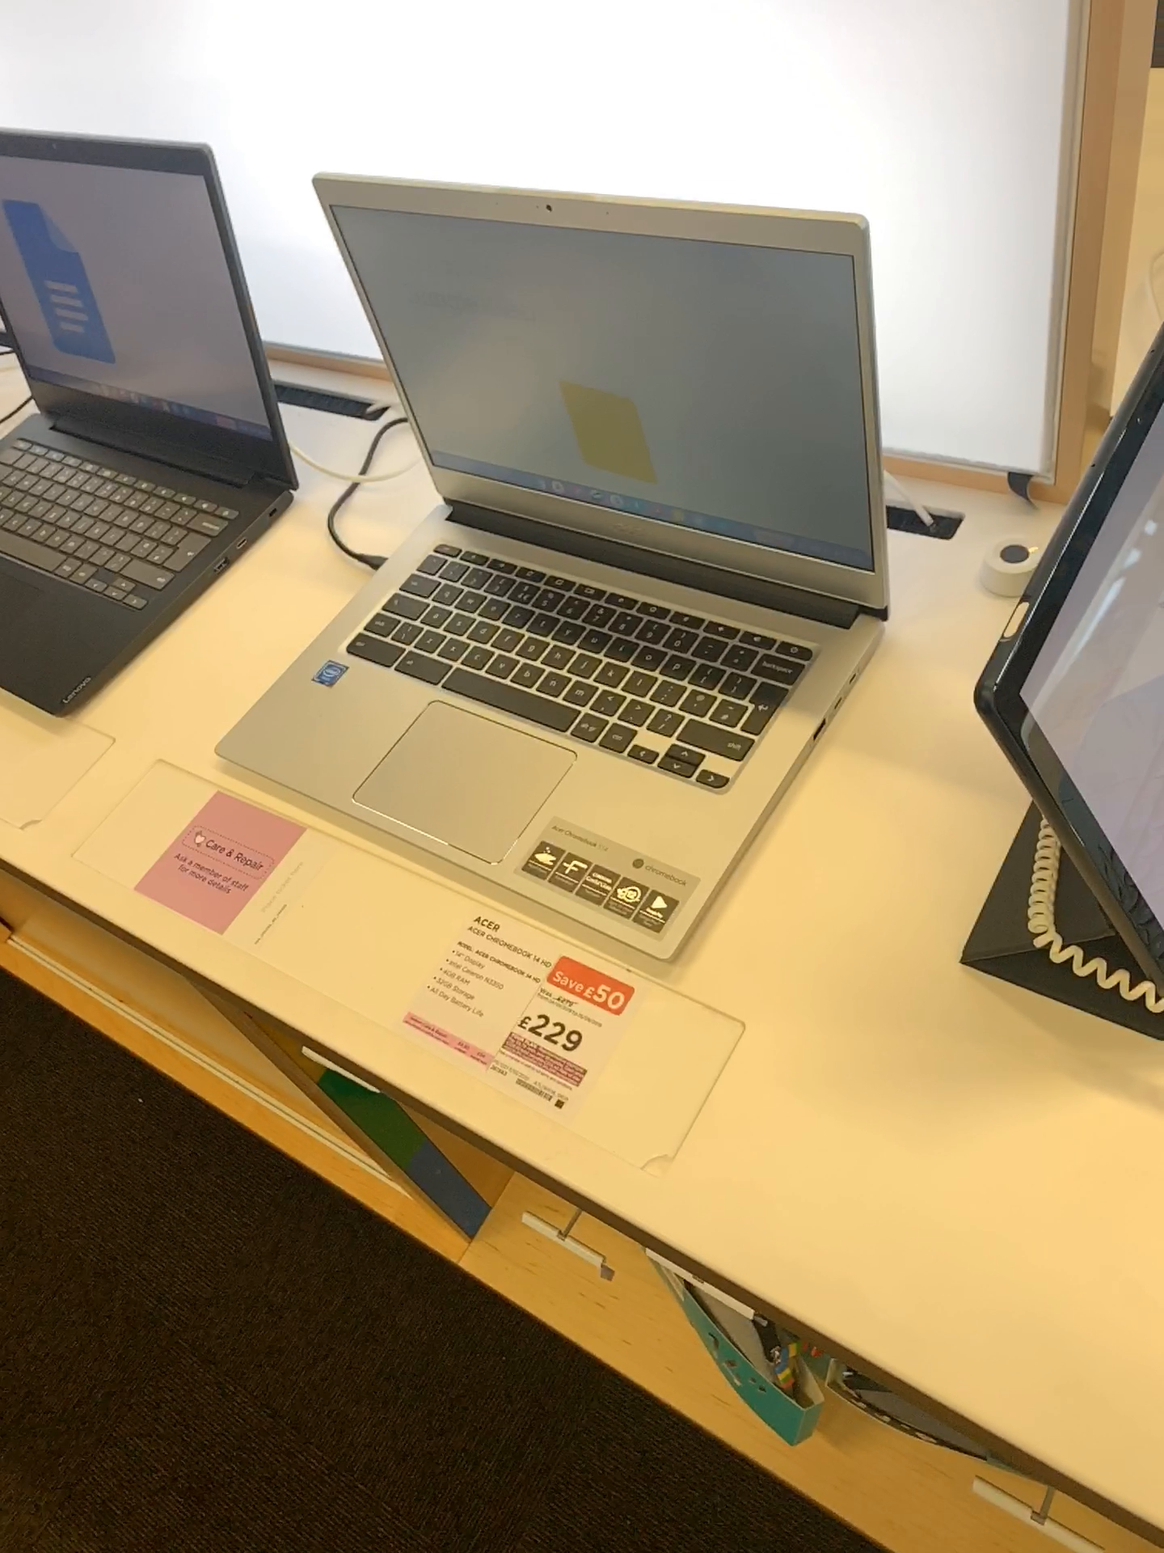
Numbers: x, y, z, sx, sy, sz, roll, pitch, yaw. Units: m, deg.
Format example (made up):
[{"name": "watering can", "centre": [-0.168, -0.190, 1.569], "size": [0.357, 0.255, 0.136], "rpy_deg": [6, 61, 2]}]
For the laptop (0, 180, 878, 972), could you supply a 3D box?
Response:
[{"name": "laptop", "centre": [-0.055, -0.112, 0.571], "size": [0.304, 0.207, 0.237], "rpy_deg": [20, 61, 30]}]

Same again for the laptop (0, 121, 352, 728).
[{"name": "laptop", "centre": [-0.393, -0.247, 0.794], "size": [0.309, 0.204, 0.283], "rpy_deg": [23, 64, 31]}]
